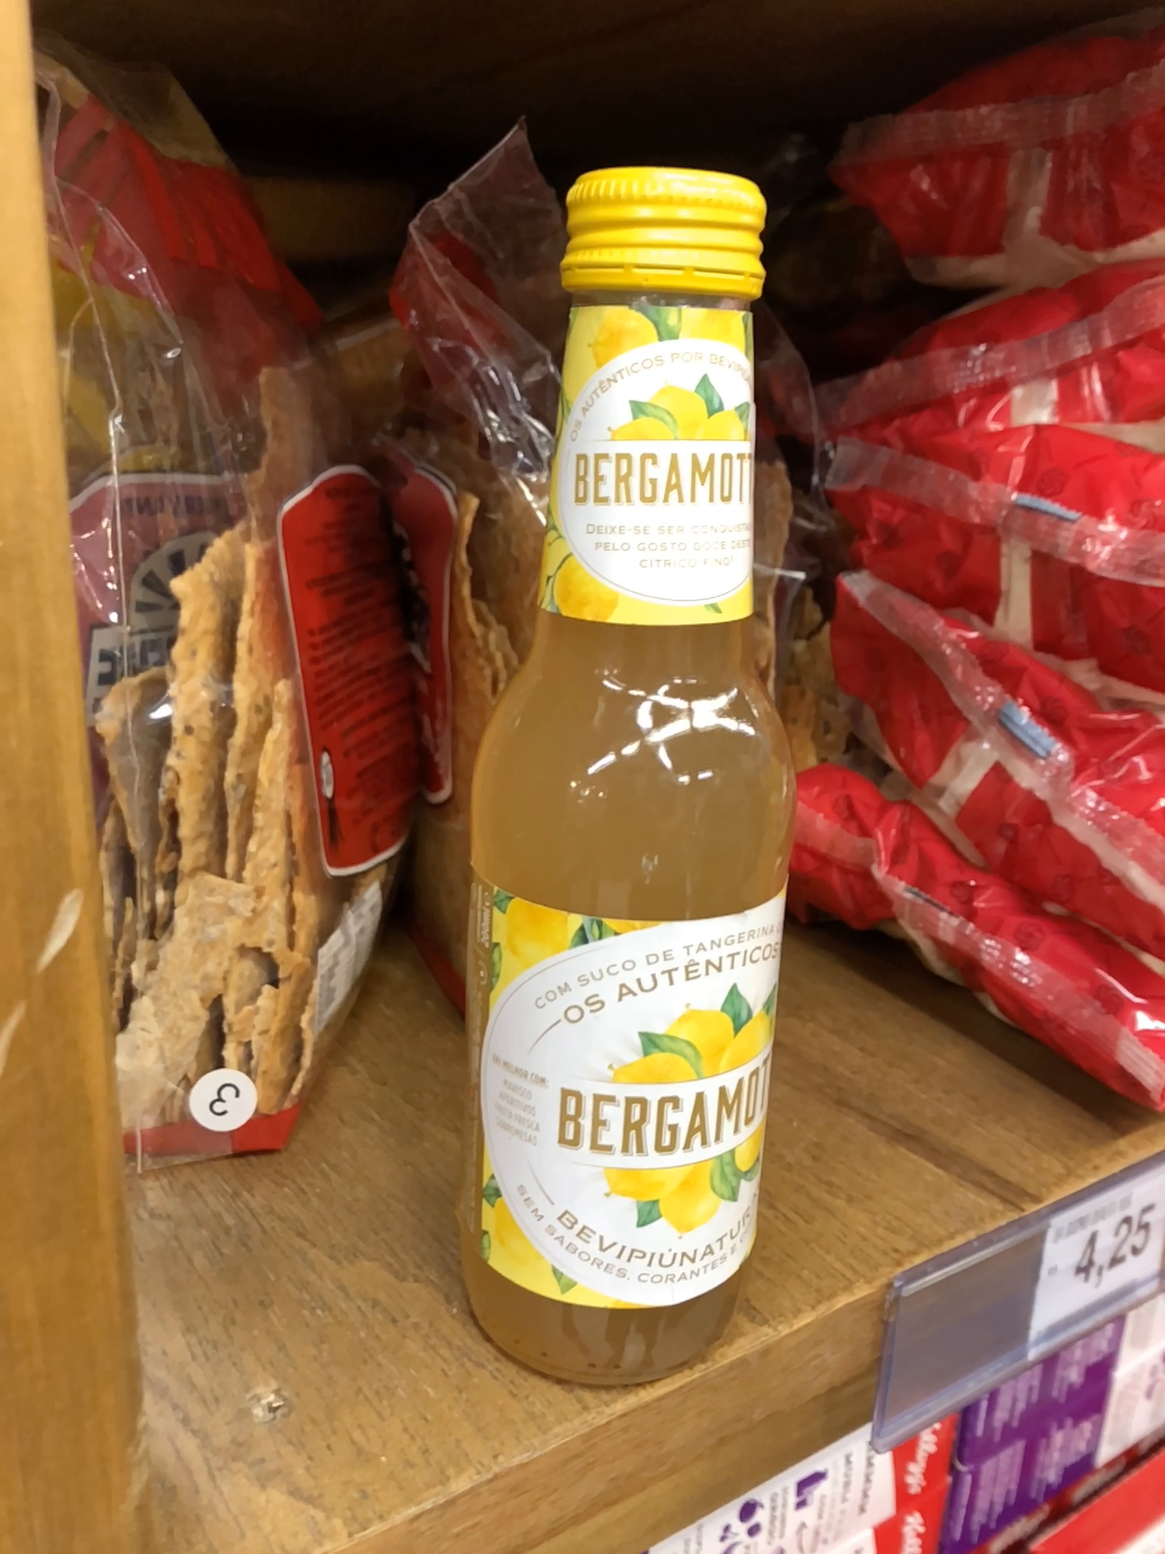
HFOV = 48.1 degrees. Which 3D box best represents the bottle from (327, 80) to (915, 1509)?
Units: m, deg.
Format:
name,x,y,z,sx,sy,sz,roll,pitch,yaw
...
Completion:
name,x,y,z,sx,sy,sz,roll,pitch,yaw
bottle,-0.001,0.005,0.215,0.060,0.199,0.060,3,15,-1
